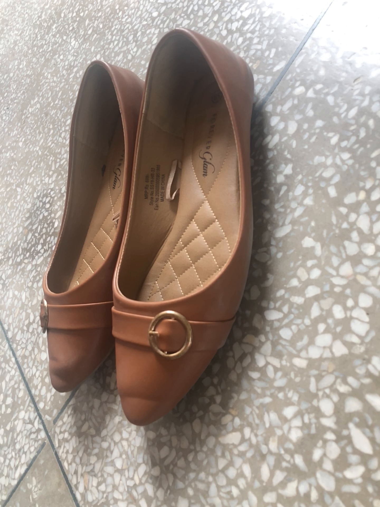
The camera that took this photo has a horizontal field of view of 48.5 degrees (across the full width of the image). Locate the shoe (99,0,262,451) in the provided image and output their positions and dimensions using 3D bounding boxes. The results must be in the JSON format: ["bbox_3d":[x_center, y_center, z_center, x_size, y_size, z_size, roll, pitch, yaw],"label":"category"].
[{"bbox_3d":[-0.009,-0.024,0.266,0.090,0.050,0.250,-6,81,46],"label":"shoe"}]

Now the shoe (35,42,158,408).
[{"bbox_3d":[-0.074,-0.020,0.334,0.090,0.050,0.250,-6,81,46],"label":"shoe"}]
